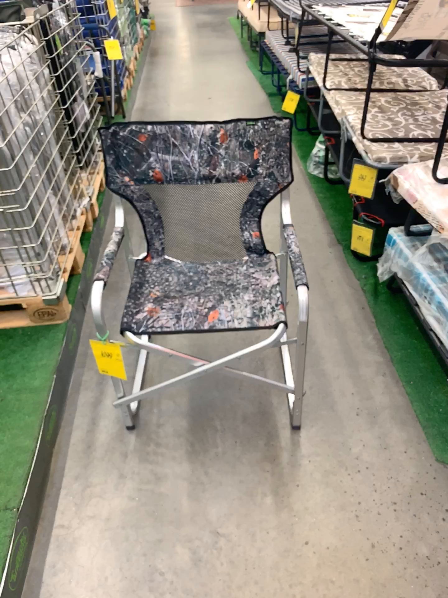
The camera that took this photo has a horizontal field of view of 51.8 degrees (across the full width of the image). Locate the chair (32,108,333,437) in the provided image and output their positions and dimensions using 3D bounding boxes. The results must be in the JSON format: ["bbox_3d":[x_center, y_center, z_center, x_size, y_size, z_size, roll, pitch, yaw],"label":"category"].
[{"bbox_3d":[-0.062,-0.070,1.484,0.650,0.836,0.613,-1,39,4],"label":"chair"}]
